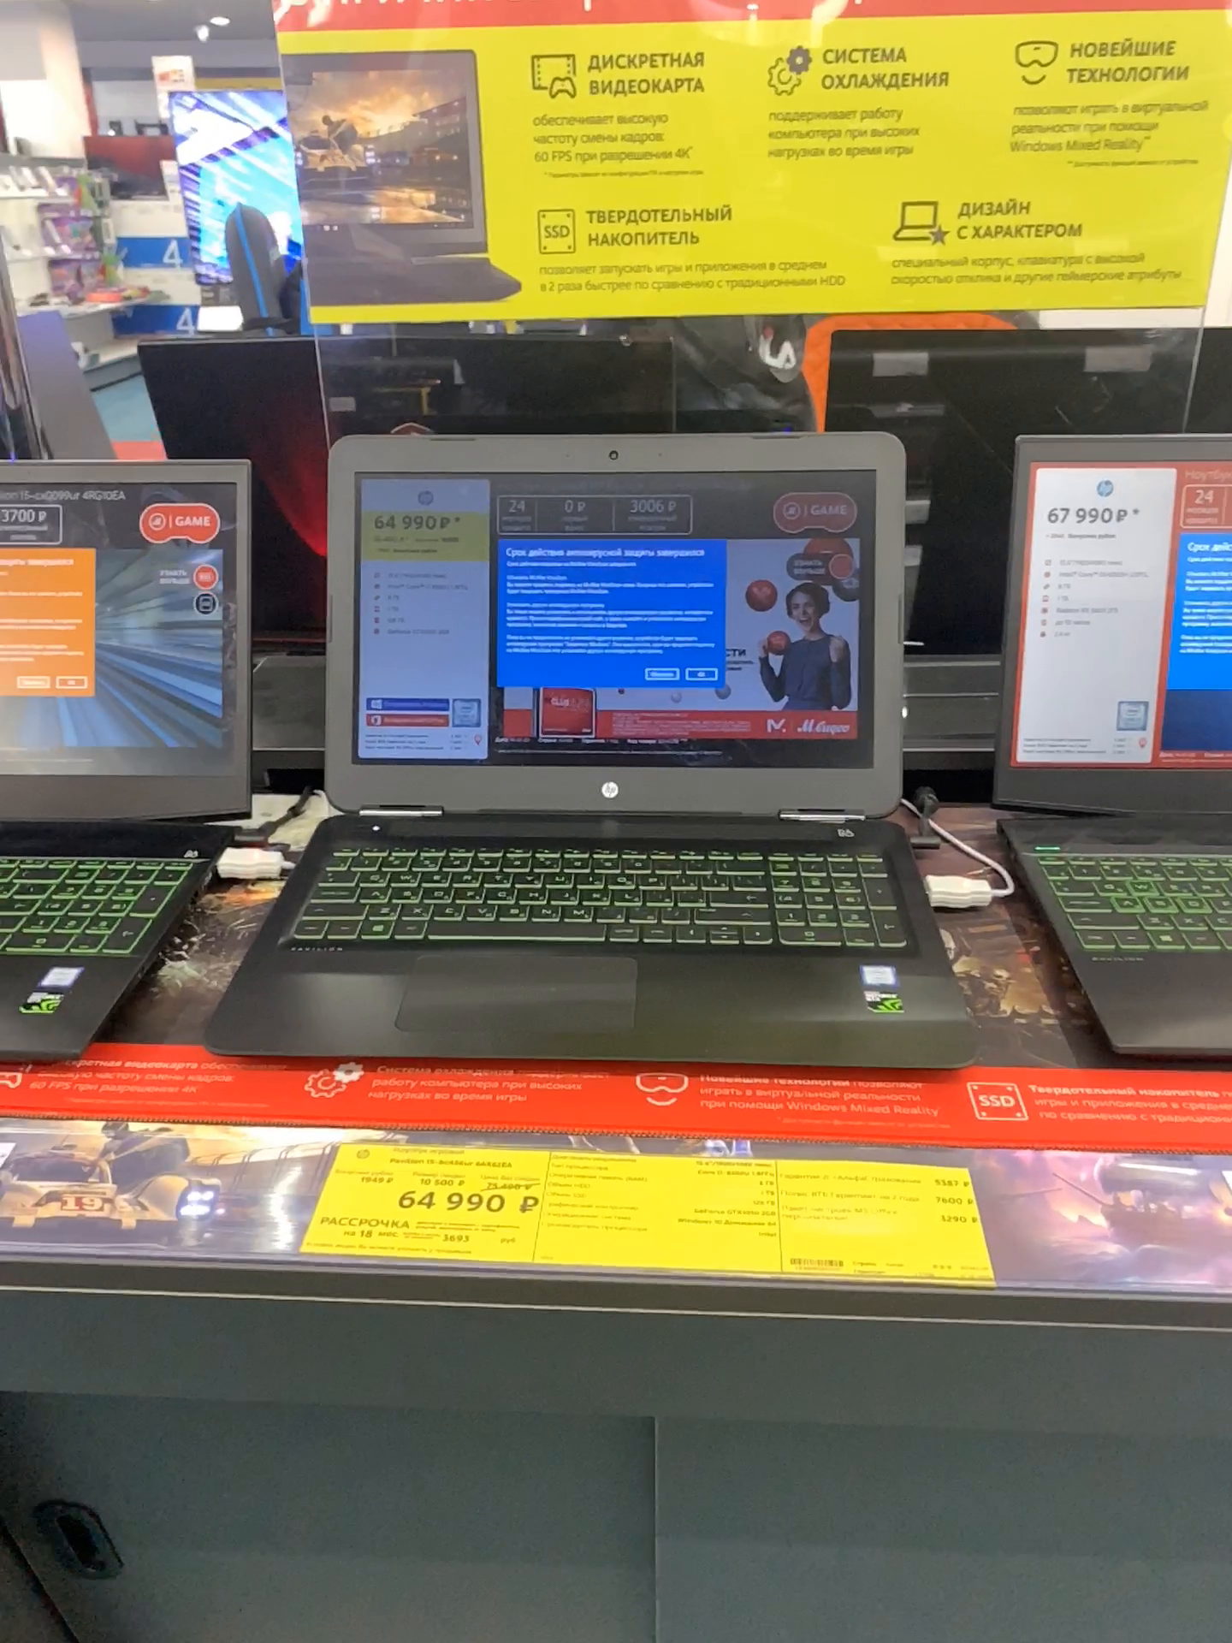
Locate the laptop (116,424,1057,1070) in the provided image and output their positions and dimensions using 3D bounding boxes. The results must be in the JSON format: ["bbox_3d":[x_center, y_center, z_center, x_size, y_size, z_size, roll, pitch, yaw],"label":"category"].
[{"bbox_3d":[-0.008,-0.076,0.729,0.384,0.223,0.381,1,27,2],"label":"laptop"}]
